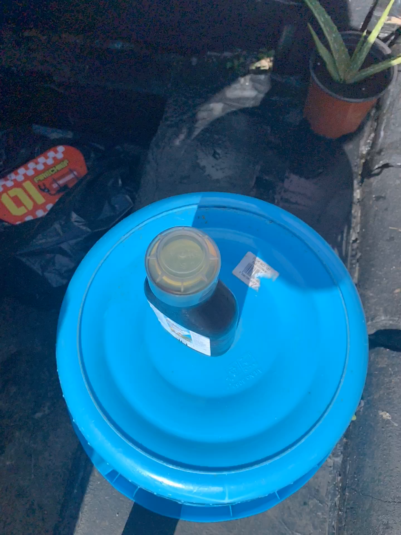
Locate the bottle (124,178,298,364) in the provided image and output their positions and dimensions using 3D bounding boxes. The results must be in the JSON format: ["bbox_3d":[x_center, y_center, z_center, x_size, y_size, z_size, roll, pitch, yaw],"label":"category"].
[{"bbox_3d":[0.001,0.021,0.316,0.080,0.199,0.050,28,72,7],"label":"bottle"}]
